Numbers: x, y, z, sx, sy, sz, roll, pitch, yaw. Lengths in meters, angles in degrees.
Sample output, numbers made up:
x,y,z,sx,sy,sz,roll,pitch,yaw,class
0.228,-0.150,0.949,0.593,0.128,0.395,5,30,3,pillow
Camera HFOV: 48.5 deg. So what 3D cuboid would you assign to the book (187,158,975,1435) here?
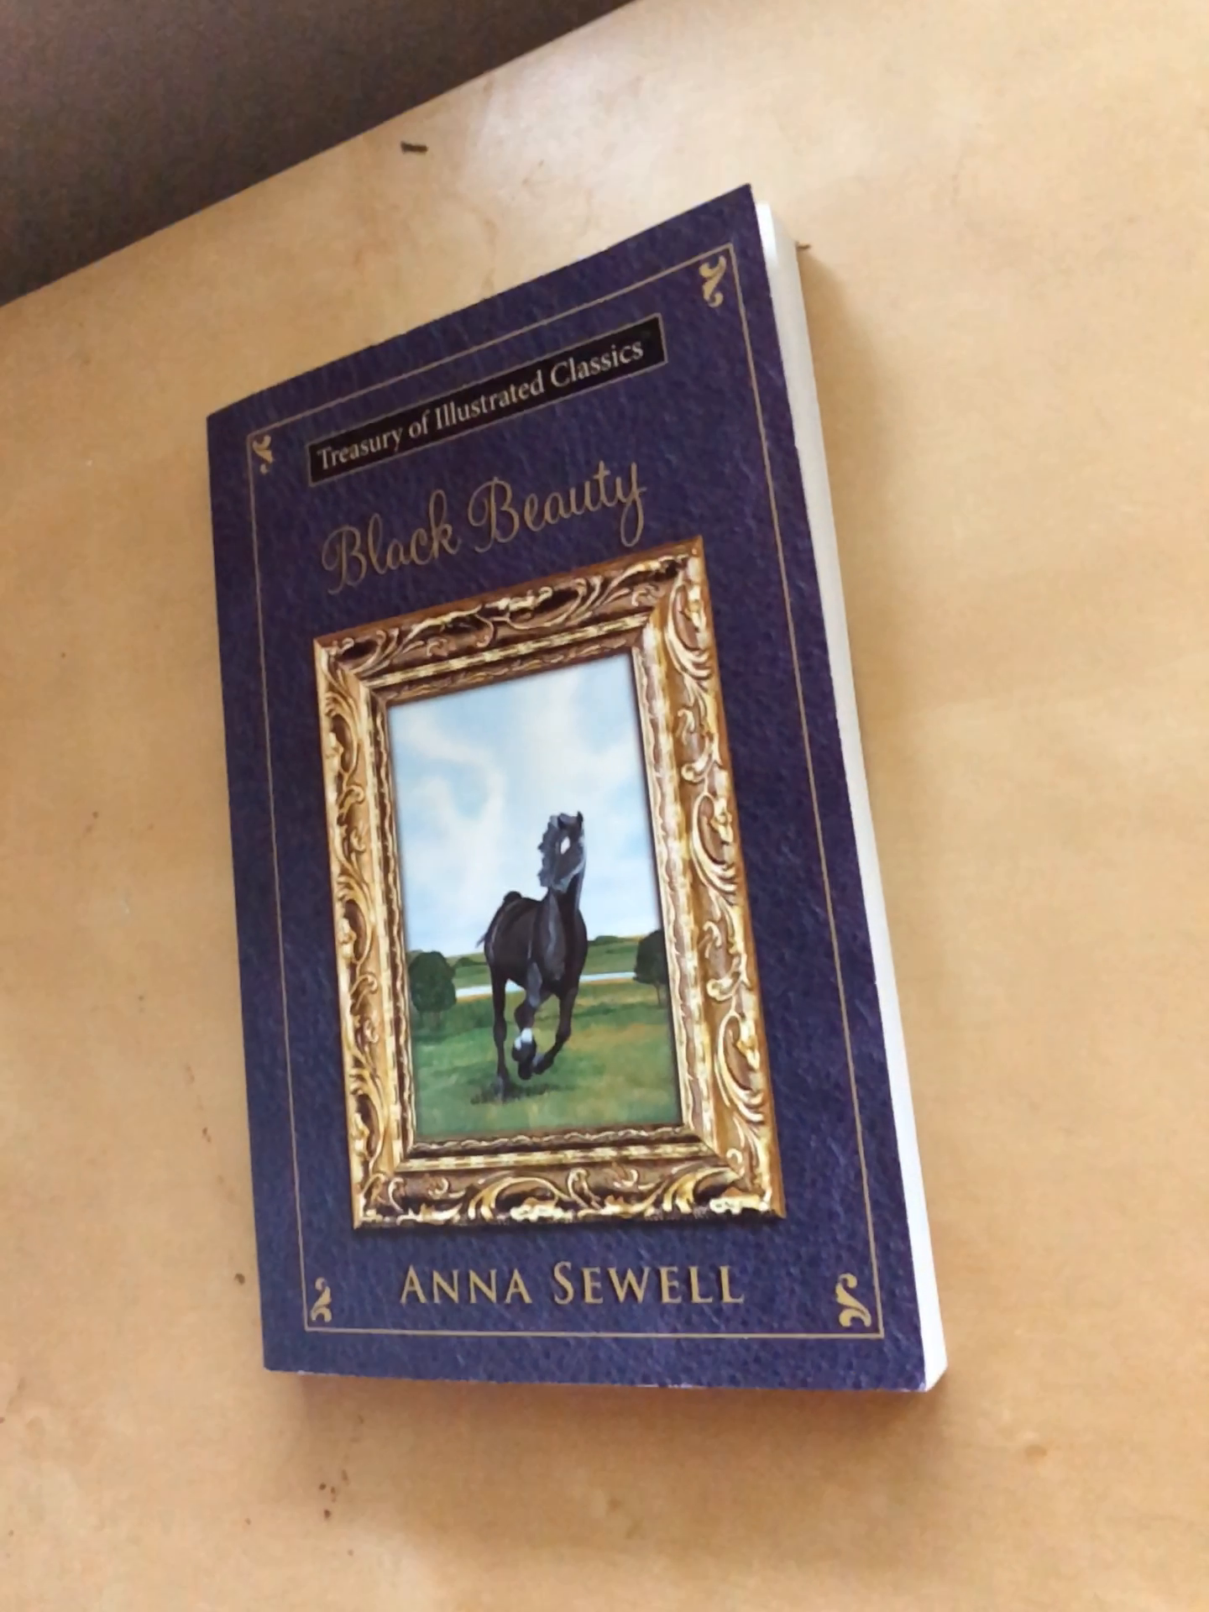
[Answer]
x,y,z,sx,sy,sz,roll,pitch,yaw,class
-0.014,0.003,0.240,0.126,0.025,0.193,-10,81,28,book
